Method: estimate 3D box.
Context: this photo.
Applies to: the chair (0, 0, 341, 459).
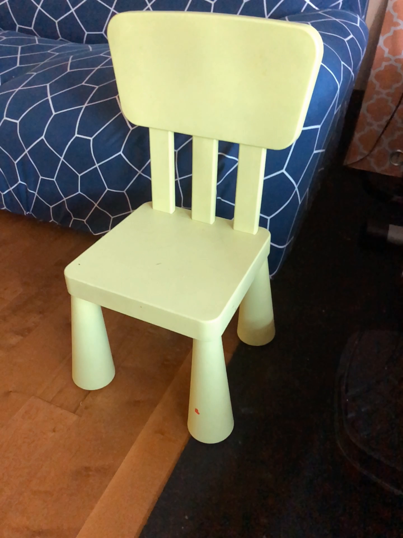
[{"bbox_3d":[-0.046,-0.081,0.792,0.391,0.635,0.412,15,40,18],"label":"chair"}]
